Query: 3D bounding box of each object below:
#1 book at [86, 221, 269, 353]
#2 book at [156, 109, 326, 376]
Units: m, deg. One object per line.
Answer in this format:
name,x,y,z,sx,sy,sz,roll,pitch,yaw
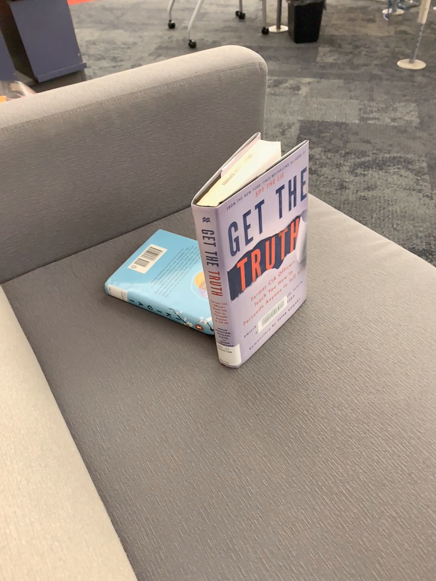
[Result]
book,-0.052,-0.014,0.606,0.200,0.030,0.140,22,49,19
book,0.036,-0.047,0.470,0.070,0.219,0.160,25,51,31
